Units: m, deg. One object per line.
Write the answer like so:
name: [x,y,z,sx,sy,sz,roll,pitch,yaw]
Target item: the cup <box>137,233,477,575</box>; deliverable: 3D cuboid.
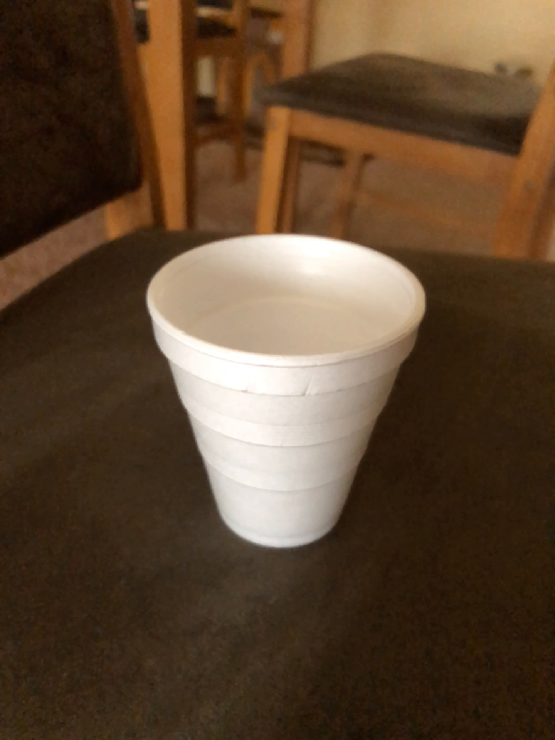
cup: [0.002,0.007,0.223,0.090,0.080,0.090,3,35,-2]
